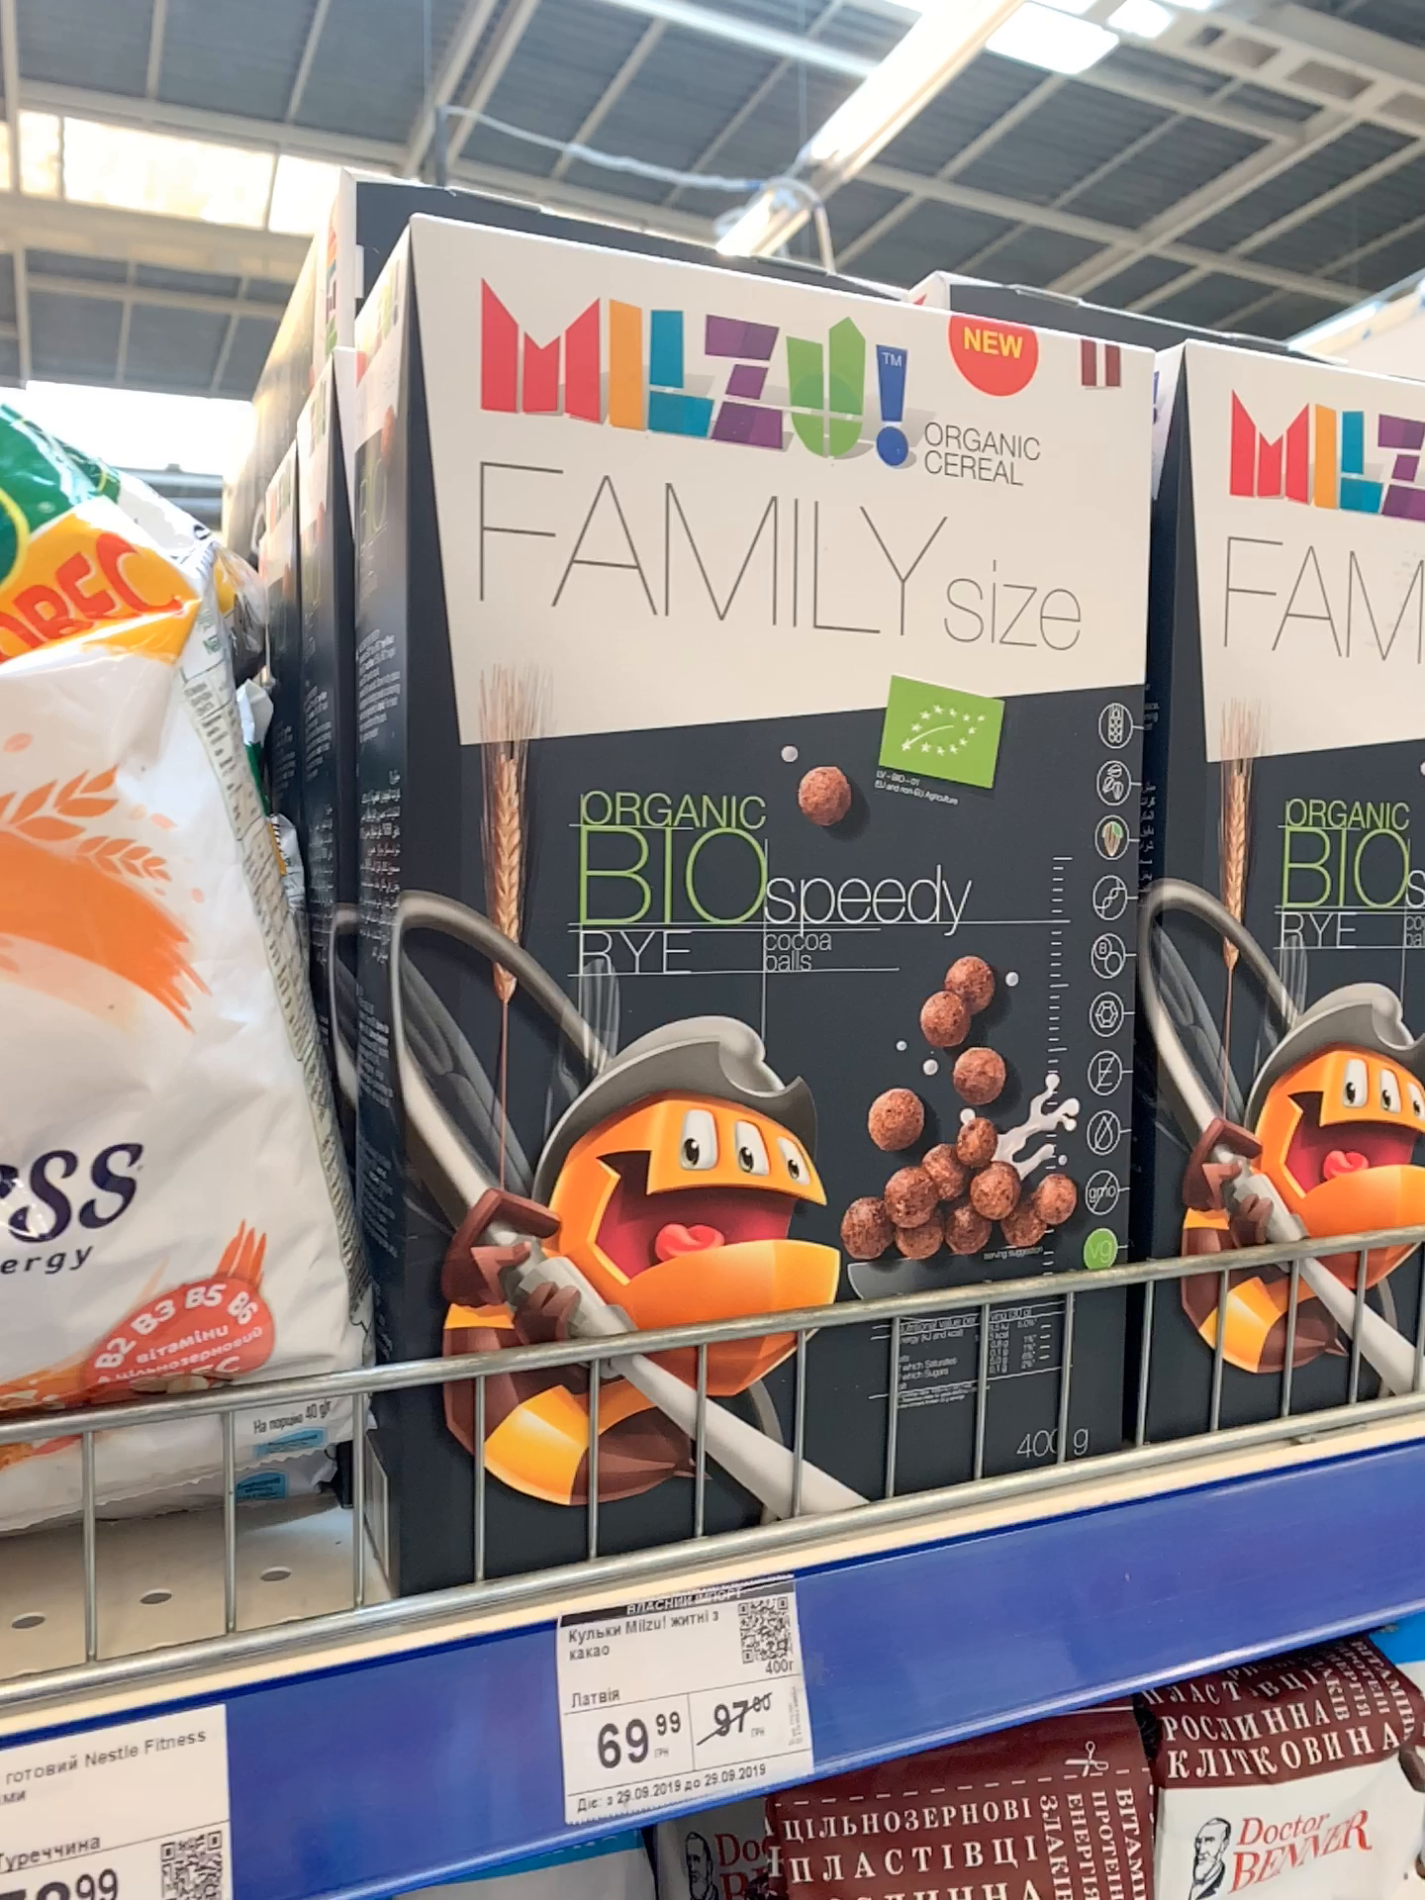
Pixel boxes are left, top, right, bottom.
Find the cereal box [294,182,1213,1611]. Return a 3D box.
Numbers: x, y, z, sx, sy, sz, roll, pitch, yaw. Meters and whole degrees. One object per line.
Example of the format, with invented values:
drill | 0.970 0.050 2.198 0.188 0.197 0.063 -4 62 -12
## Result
cereal box | 0.009 -0.011 0.357 0.200 0.270 0.080 -1 4 -25
